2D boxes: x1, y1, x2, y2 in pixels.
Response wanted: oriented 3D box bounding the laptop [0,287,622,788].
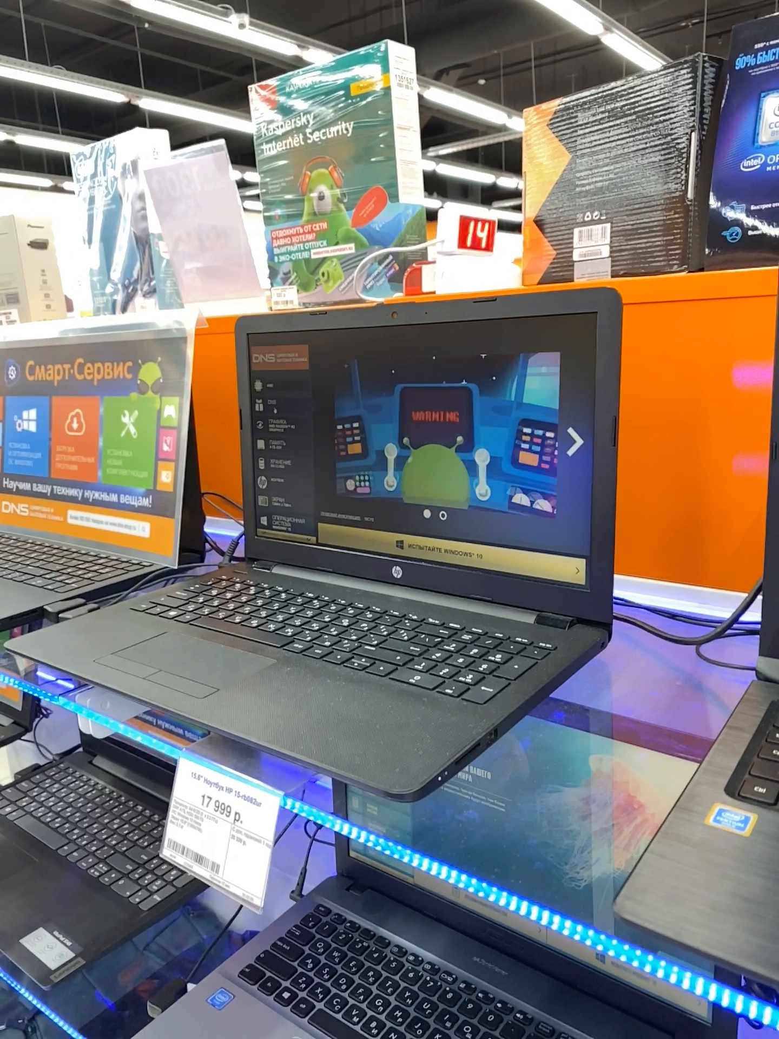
[{"bbox_3d":[-0.066,-0.030,0.570,0.370,0.231,0.271,6,15,36],"label":"laptop"}]
